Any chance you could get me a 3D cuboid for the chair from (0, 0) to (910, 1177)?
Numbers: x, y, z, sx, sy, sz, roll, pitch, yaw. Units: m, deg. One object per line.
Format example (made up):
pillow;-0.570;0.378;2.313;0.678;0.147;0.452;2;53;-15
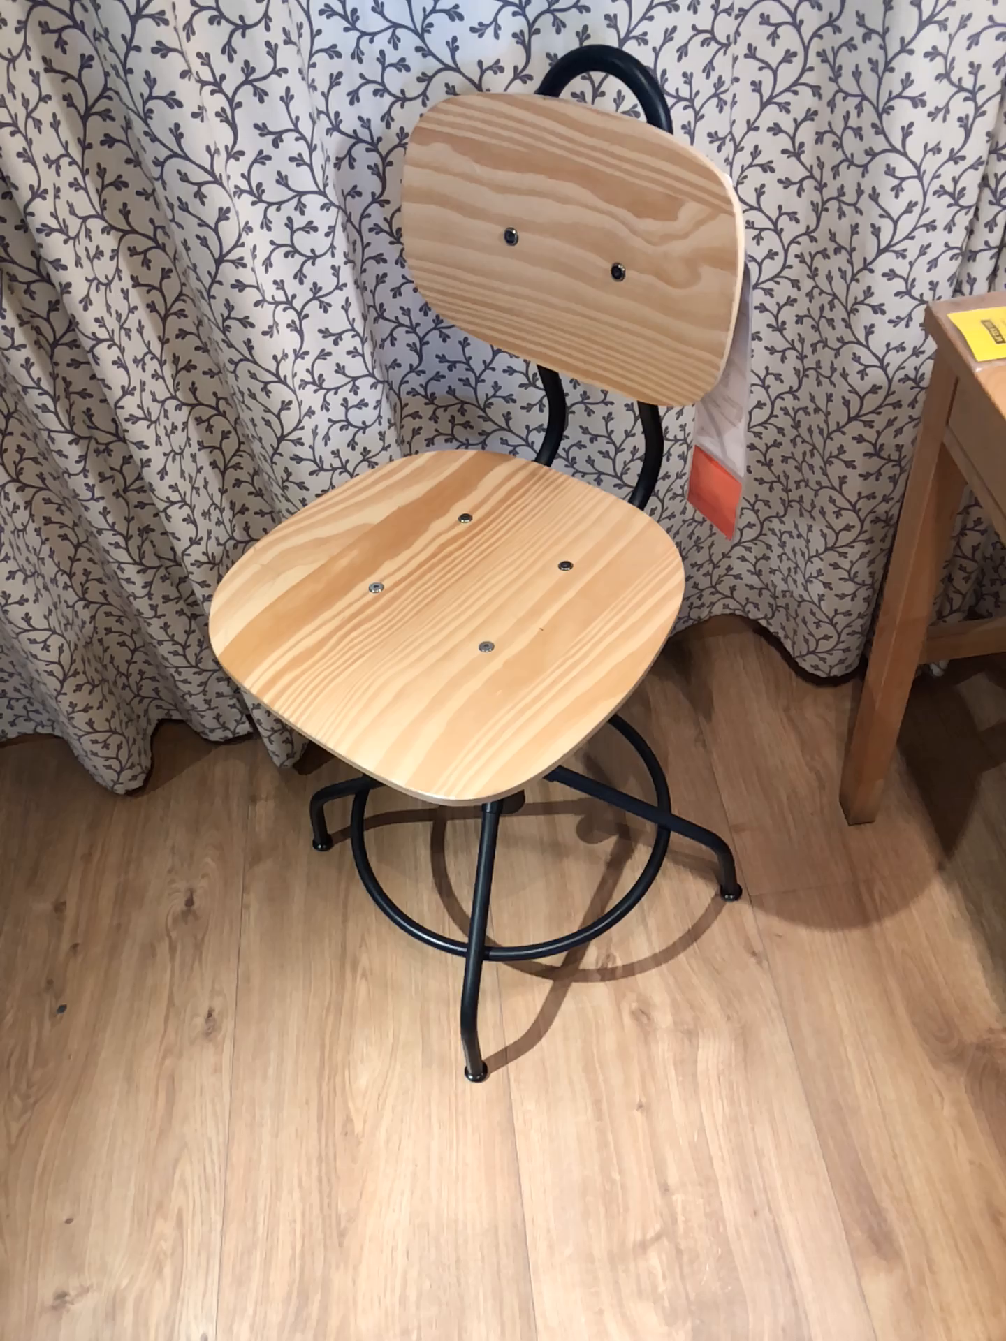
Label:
chair;-0.059;-0.054;1.025;0.522;0.815;0.552;28;58;28
